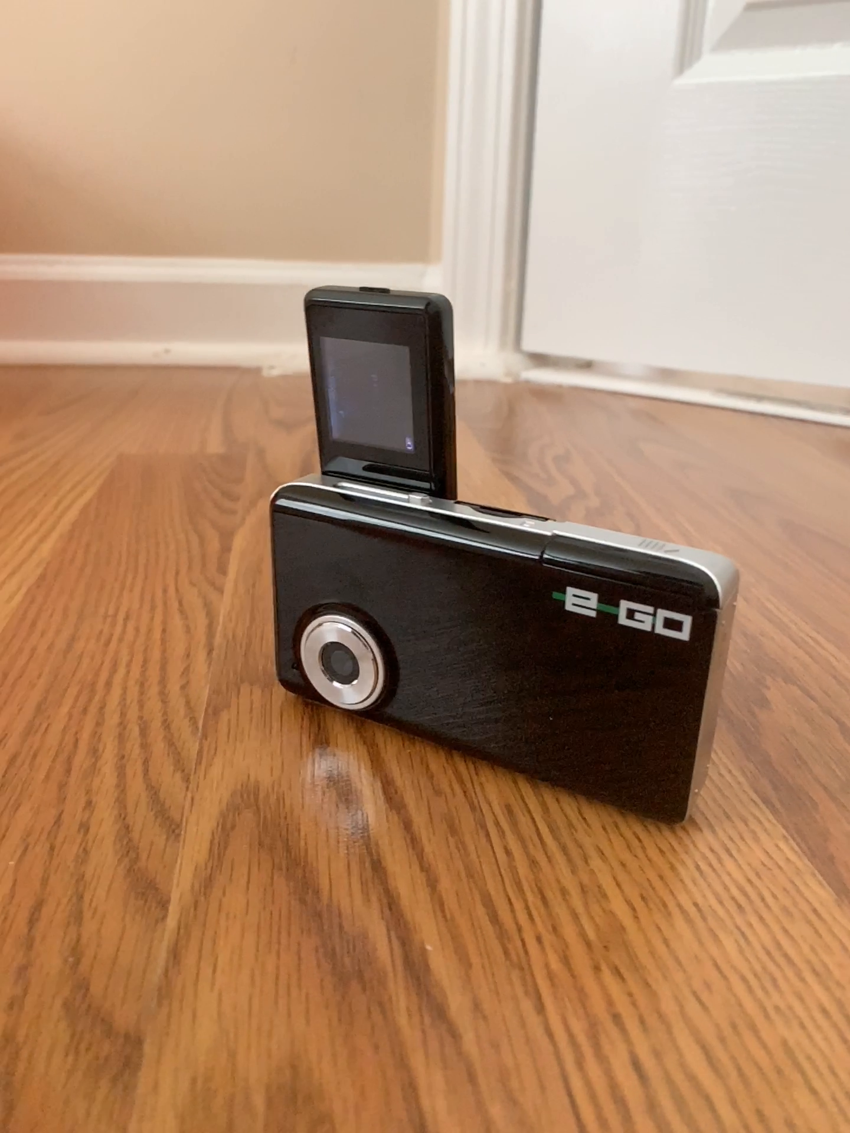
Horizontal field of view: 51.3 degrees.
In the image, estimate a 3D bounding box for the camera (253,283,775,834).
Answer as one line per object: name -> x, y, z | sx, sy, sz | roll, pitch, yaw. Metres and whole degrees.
camera -> 0.013, -0.008, 0.217 | 0.119, 0.111, 0.022 | 13, 23, 29
